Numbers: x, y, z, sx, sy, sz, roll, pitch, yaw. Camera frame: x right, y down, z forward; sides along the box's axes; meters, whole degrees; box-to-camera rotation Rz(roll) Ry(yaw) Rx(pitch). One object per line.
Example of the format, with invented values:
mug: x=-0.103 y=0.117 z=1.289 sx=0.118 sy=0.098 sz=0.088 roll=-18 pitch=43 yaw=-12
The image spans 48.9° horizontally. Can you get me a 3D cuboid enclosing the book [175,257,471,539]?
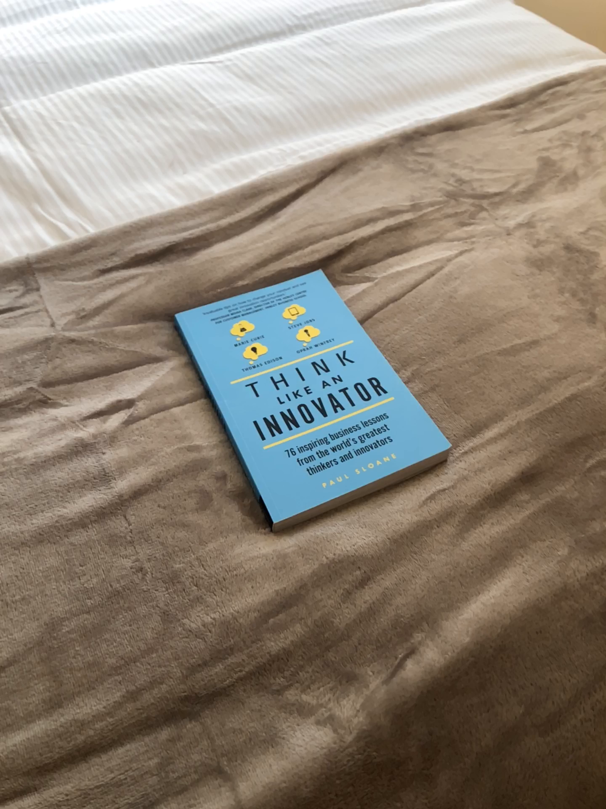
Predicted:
book: x=0.005 y=-0.020 z=0.507 sx=0.140 sy=0.020 sz=0.221 roll=-21 pitch=53 yaw=-13
